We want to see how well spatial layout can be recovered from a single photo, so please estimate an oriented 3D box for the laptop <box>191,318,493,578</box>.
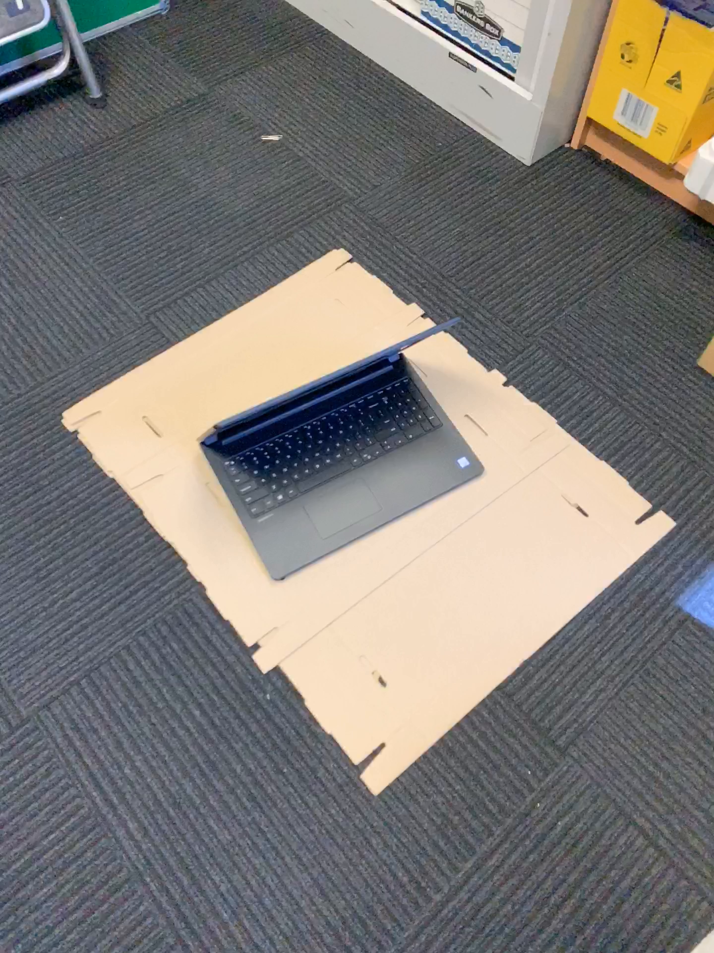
[{"bbox_3d":[-0.019,-0.049,0.996,0.341,0.085,0.221,-26,67,-16],"label":"laptop"}]
